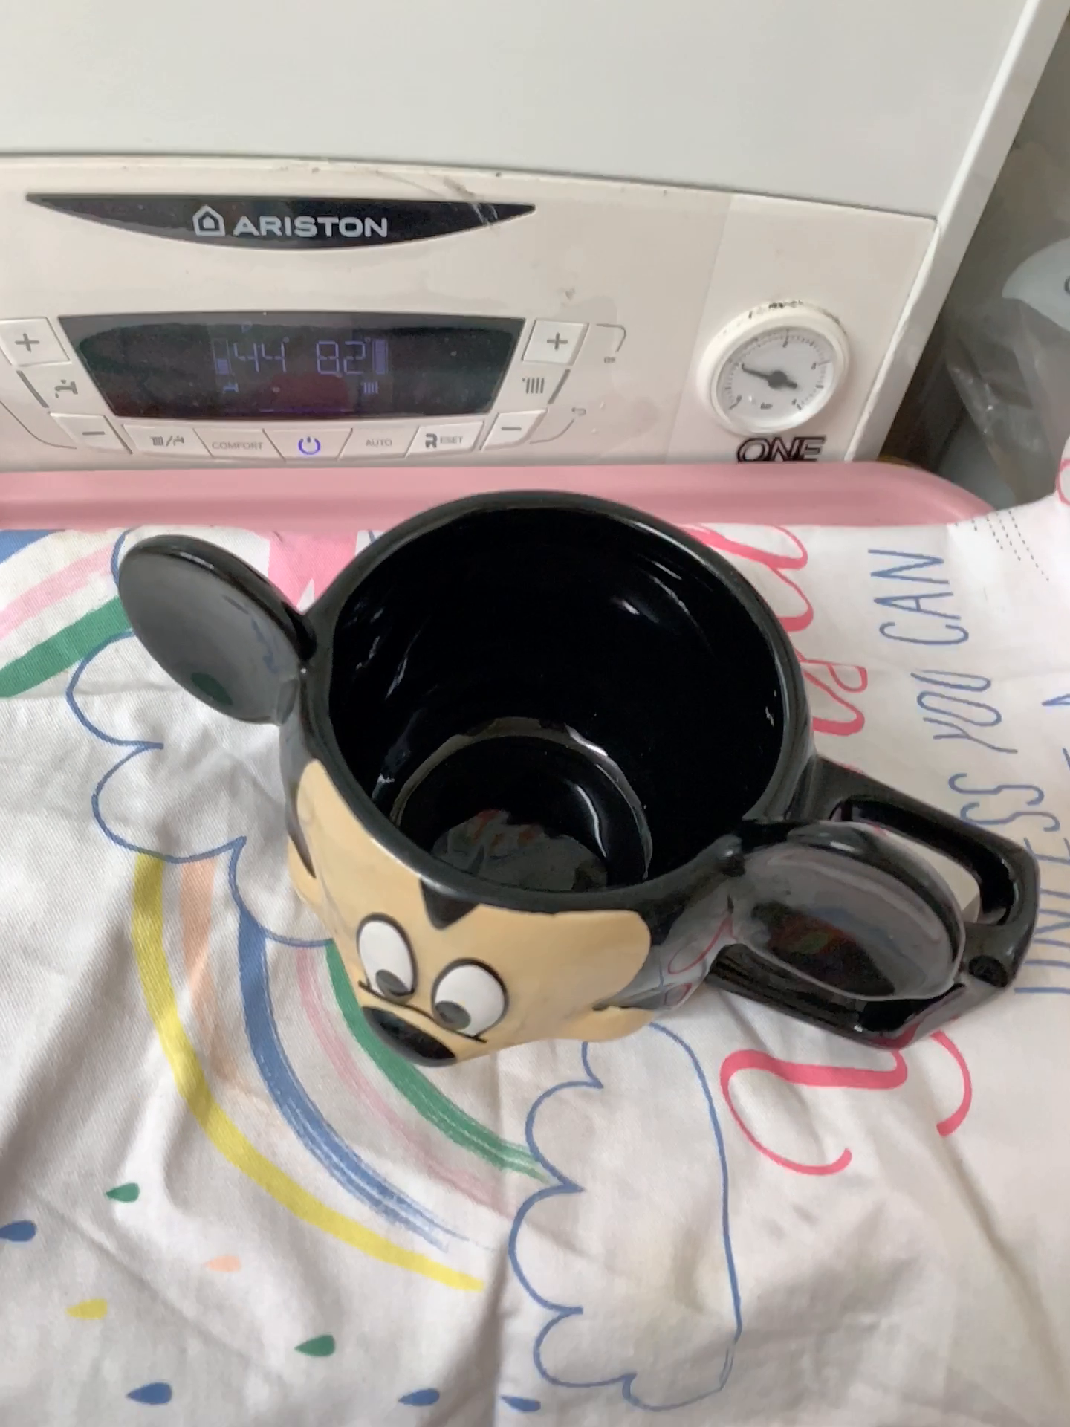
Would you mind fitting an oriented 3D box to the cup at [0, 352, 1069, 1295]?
[{"bbox_3d":[0.003,0.017,0.224,0.190,0.079,0.101,22,54,9],"label":"cup"}]
